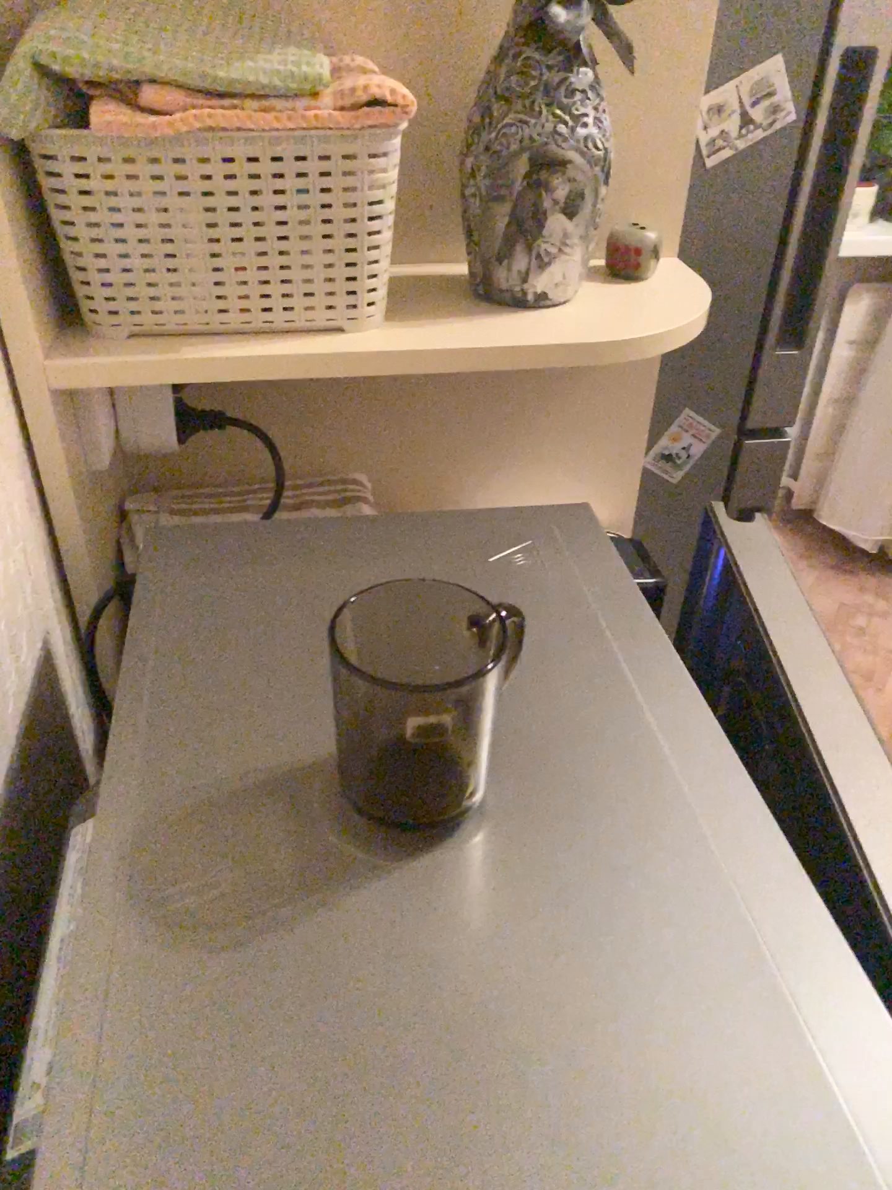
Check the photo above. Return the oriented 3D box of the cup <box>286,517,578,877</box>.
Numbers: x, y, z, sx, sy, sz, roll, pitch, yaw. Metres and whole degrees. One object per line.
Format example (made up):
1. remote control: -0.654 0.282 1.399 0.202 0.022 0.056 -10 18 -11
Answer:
1. cup: -0.004 0.039 0.396 0.078 0.094 0.102 20 39 23
